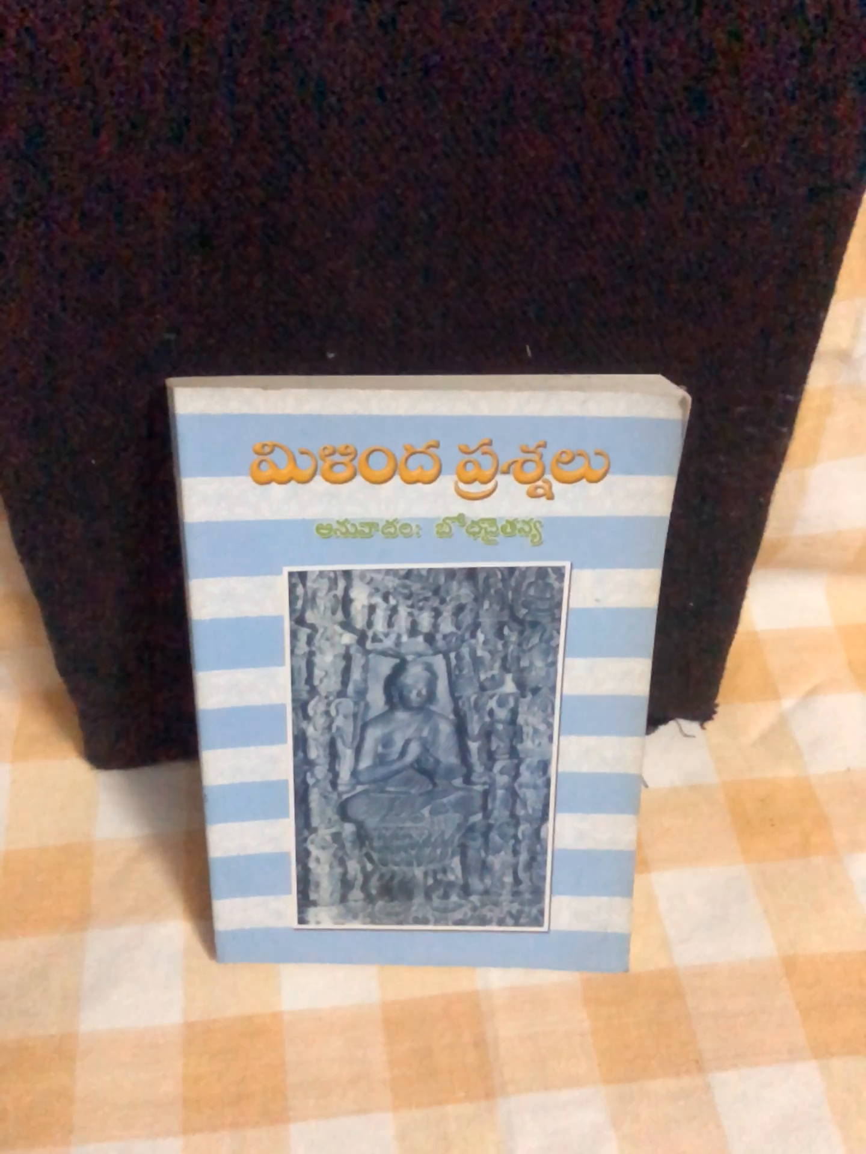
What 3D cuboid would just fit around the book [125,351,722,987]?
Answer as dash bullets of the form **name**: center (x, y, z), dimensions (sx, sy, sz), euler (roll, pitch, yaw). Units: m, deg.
- **book**: center (-0.005, 0.038, 0.309), dimensions (0.160, 0.210, 0.030), euler (1, 21, -1)
